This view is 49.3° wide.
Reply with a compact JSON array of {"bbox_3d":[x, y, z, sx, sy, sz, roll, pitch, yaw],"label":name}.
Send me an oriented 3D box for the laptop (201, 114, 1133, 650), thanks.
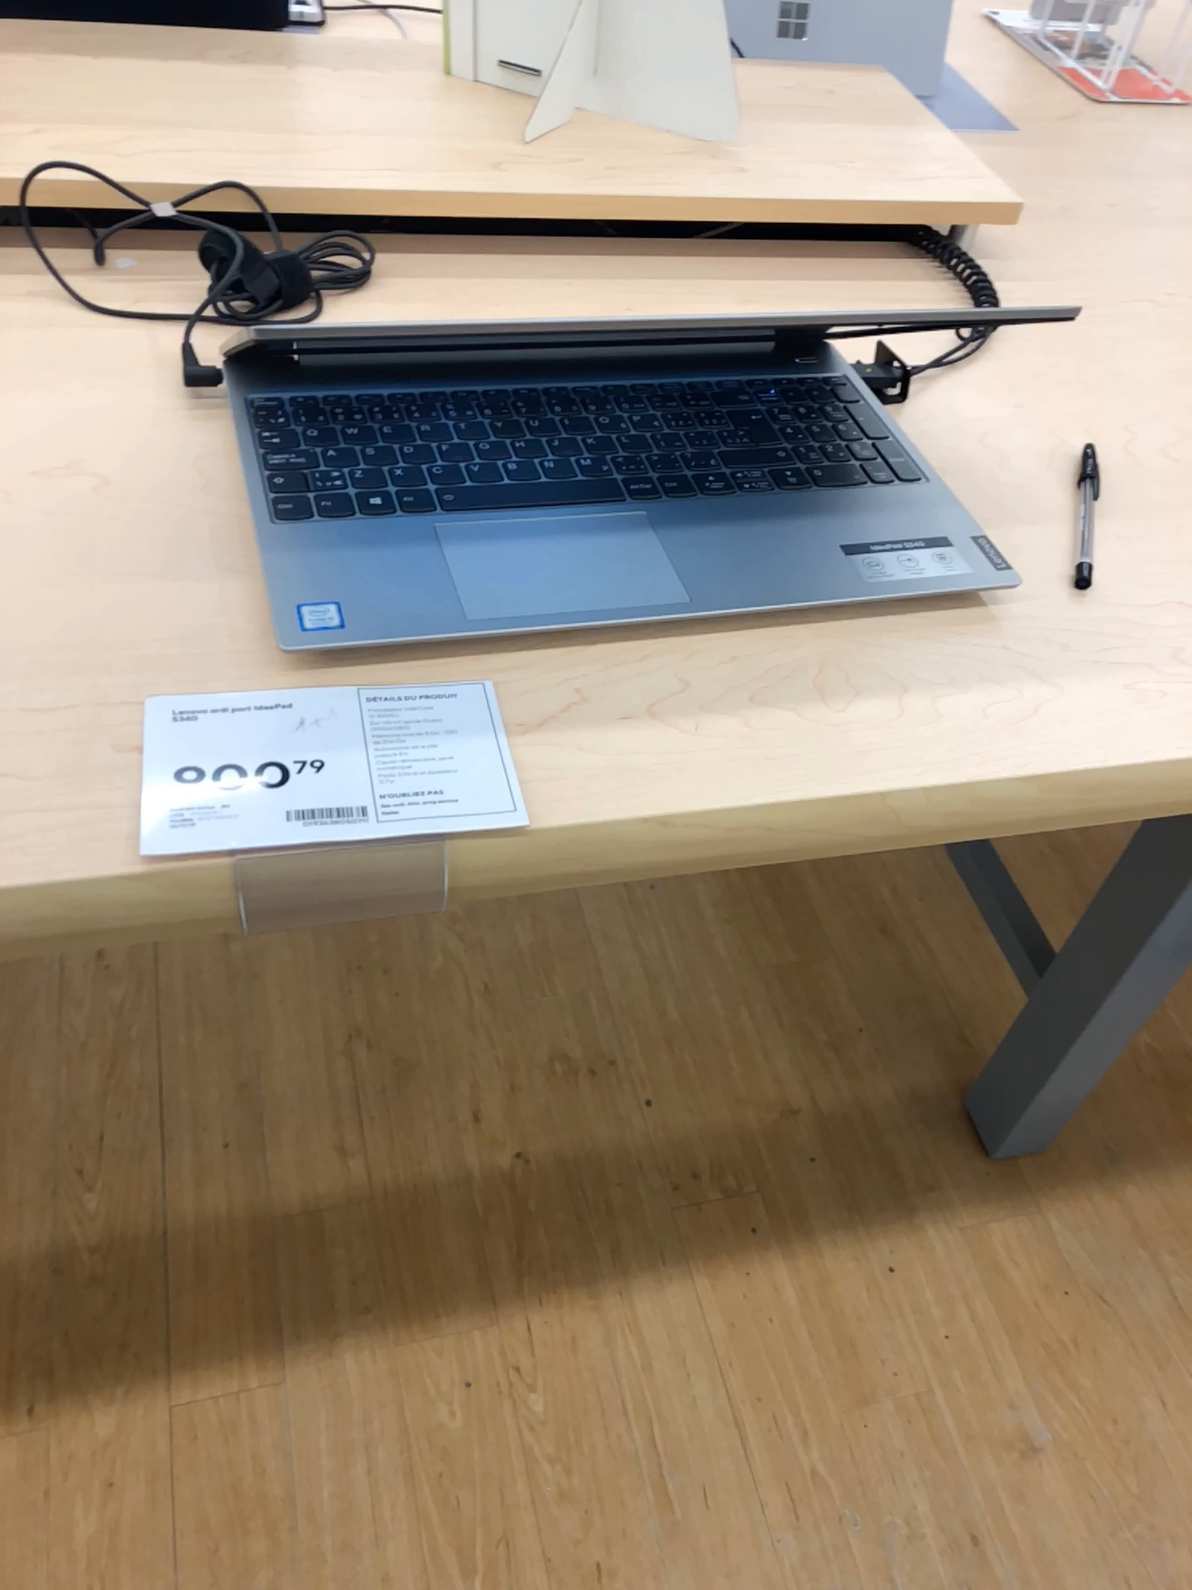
[{"bbox_3d":[0.014,-0.205,0.609,0.351,0.122,0.234,-7,48,-17],"label":"laptop"}]
